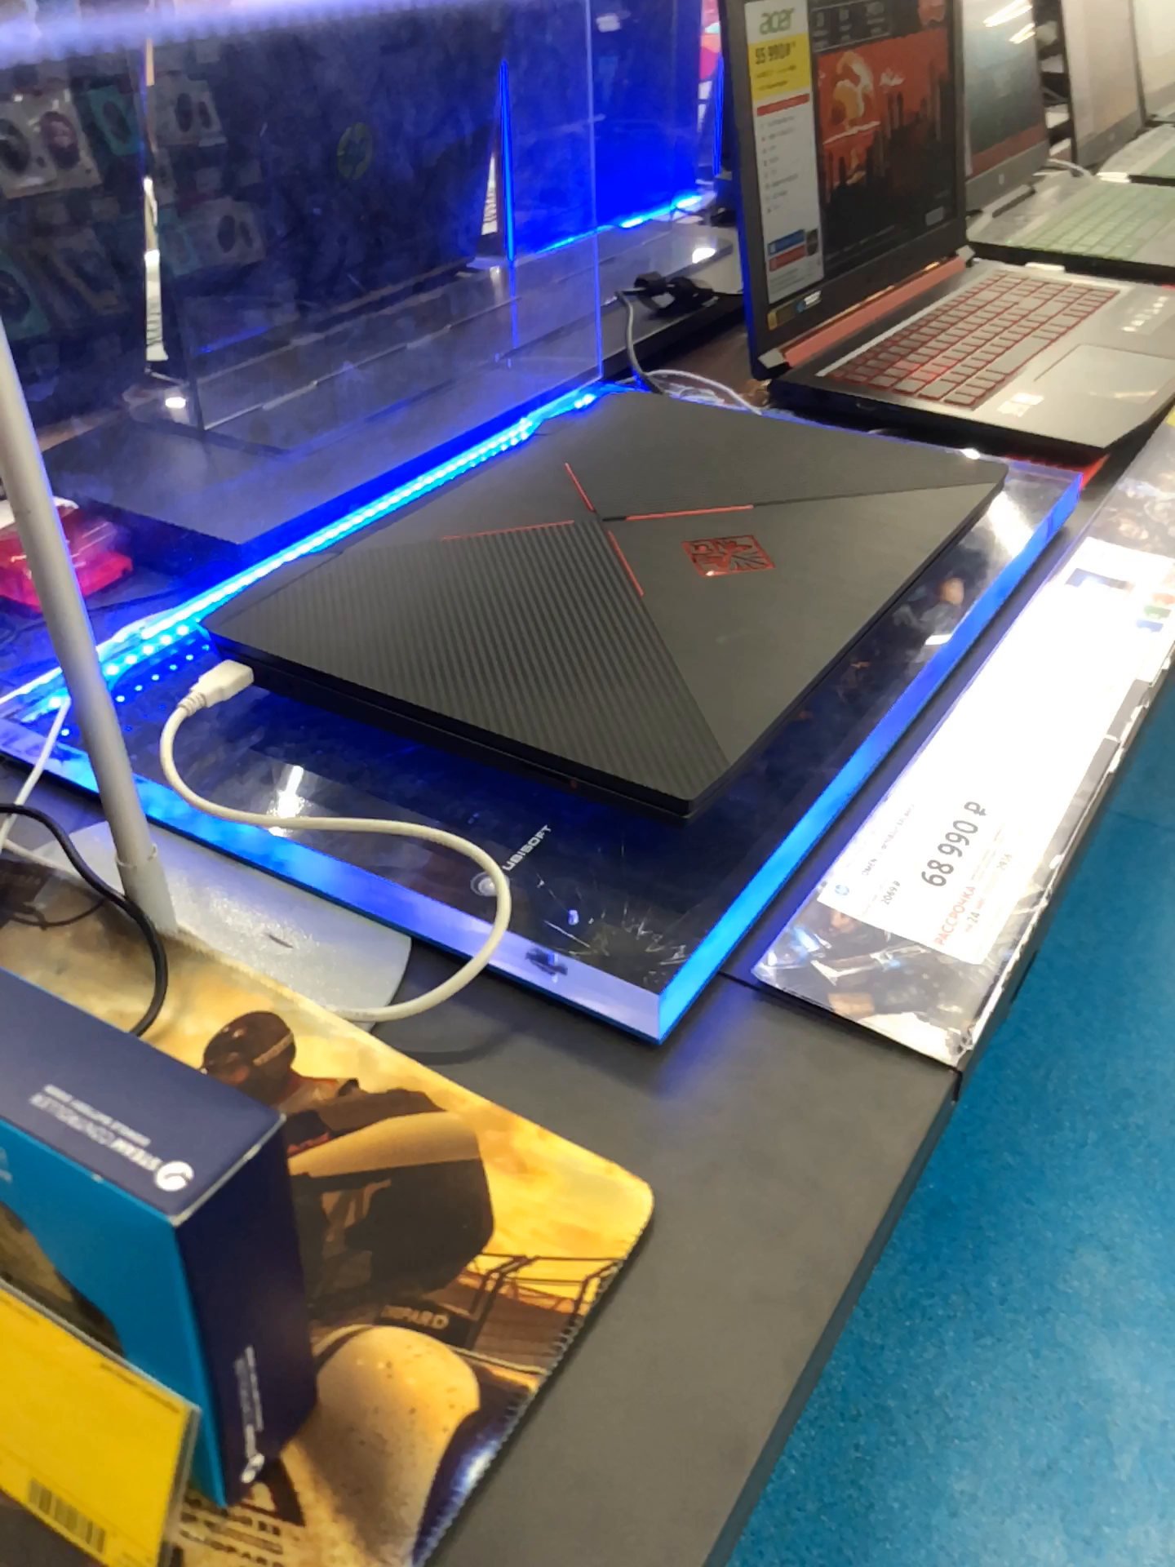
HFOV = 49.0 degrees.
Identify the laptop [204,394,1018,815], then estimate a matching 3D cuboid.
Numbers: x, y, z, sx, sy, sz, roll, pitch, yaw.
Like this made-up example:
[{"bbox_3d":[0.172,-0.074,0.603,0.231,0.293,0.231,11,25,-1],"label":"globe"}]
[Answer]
[{"bbox_3d":[0.032,-0.113,0.621,0.237,0.003,0.351,20,41,27],"label":"laptop"}]
